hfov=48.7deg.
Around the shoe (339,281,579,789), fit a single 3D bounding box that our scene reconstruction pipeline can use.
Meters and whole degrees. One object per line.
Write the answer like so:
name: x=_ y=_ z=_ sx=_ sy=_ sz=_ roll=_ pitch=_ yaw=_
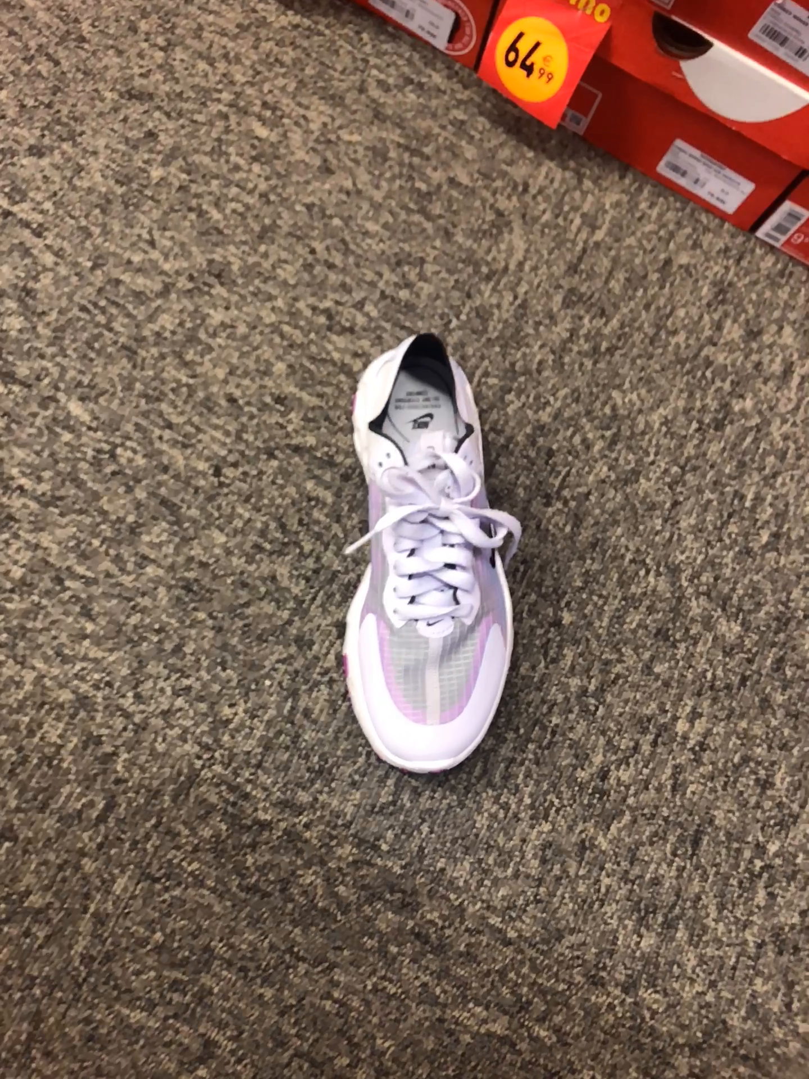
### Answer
shoe: x=0.021 y=0.001 z=0.498 sx=0.100 sy=0.100 sz=0.260 roll=0 pitch=75 yaw=-10
